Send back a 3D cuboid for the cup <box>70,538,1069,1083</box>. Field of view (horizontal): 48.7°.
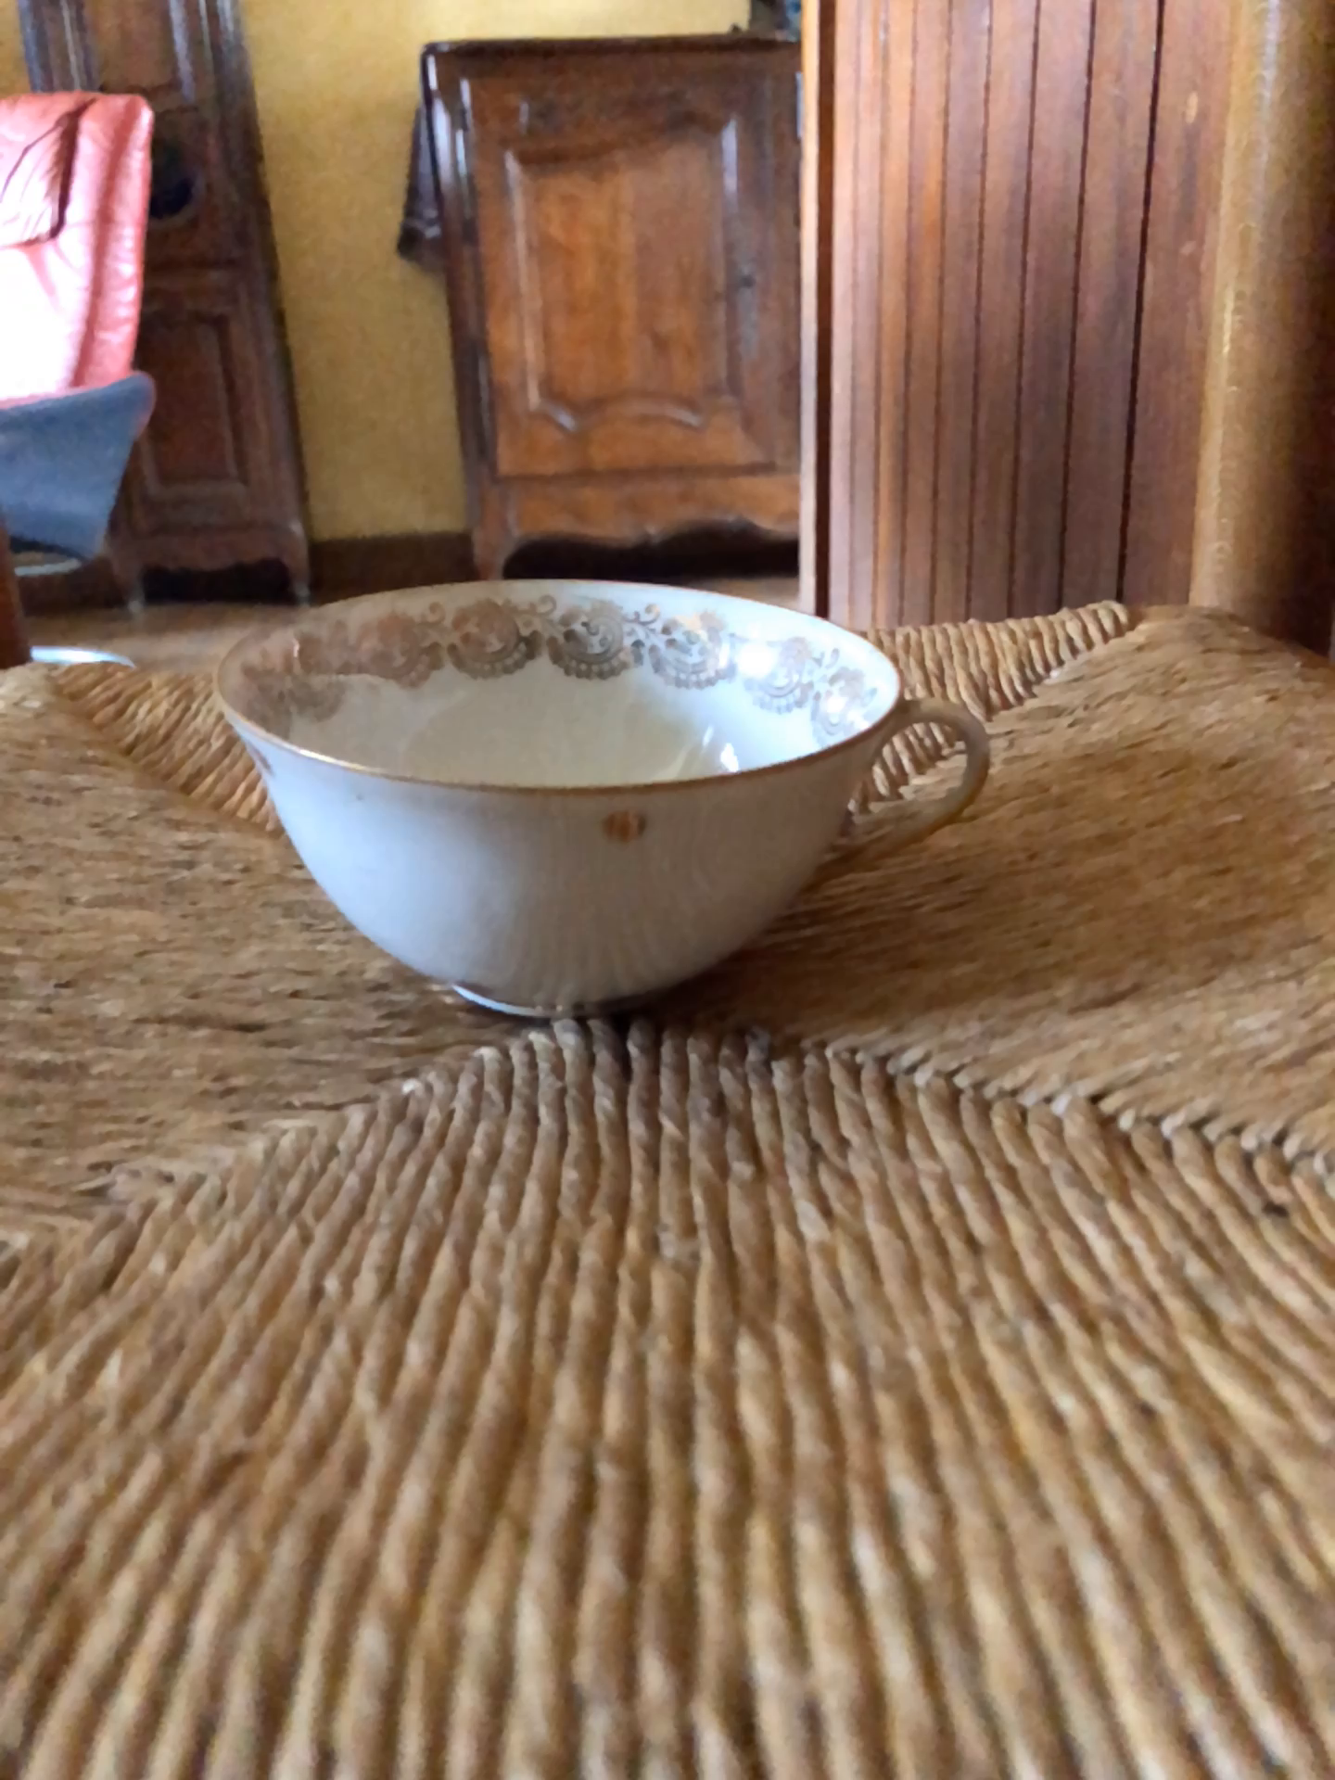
[{"bbox_3d":[-0.014,-0.022,0.252,0.130,0.050,0.111,-4,23,-3],"label":"cup"}]
